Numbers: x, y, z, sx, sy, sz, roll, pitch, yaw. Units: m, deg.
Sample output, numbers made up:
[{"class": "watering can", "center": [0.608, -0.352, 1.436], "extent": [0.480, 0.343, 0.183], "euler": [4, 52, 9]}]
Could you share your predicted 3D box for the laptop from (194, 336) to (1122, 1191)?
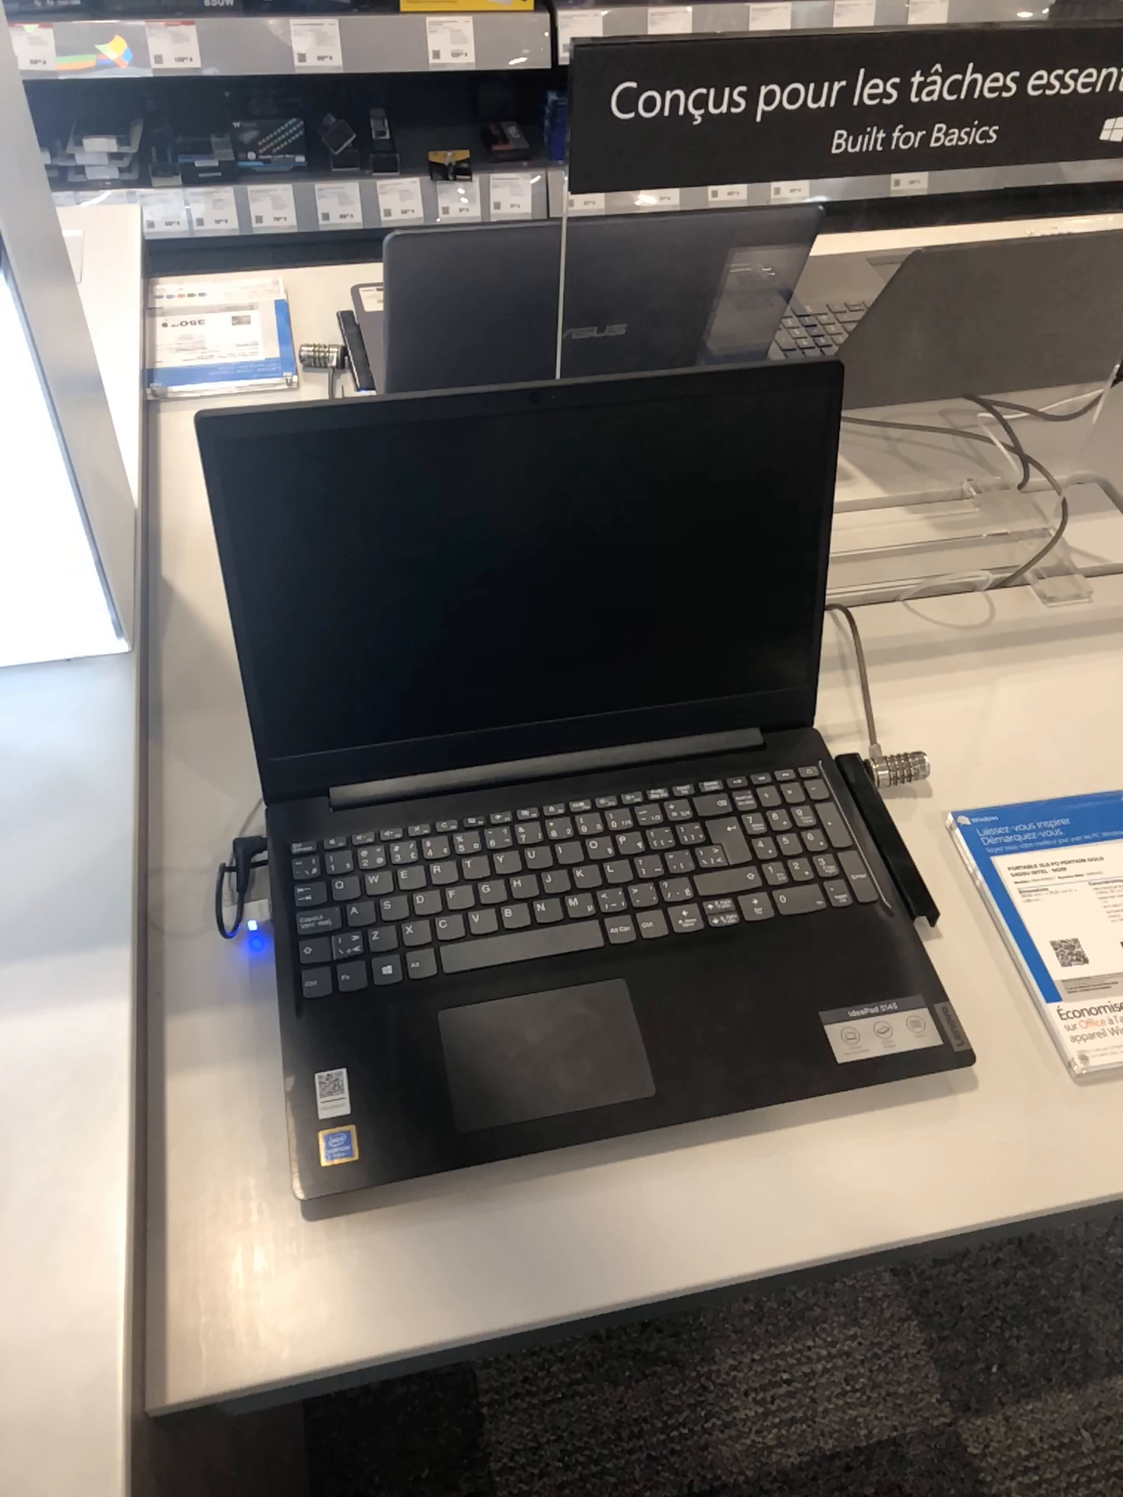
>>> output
[{"class": "laptop", "center": [0.013, -0.009, 0.632], "extent": [0.346, 0.213, 0.323], "euler": [-8, 51, -10]}]
